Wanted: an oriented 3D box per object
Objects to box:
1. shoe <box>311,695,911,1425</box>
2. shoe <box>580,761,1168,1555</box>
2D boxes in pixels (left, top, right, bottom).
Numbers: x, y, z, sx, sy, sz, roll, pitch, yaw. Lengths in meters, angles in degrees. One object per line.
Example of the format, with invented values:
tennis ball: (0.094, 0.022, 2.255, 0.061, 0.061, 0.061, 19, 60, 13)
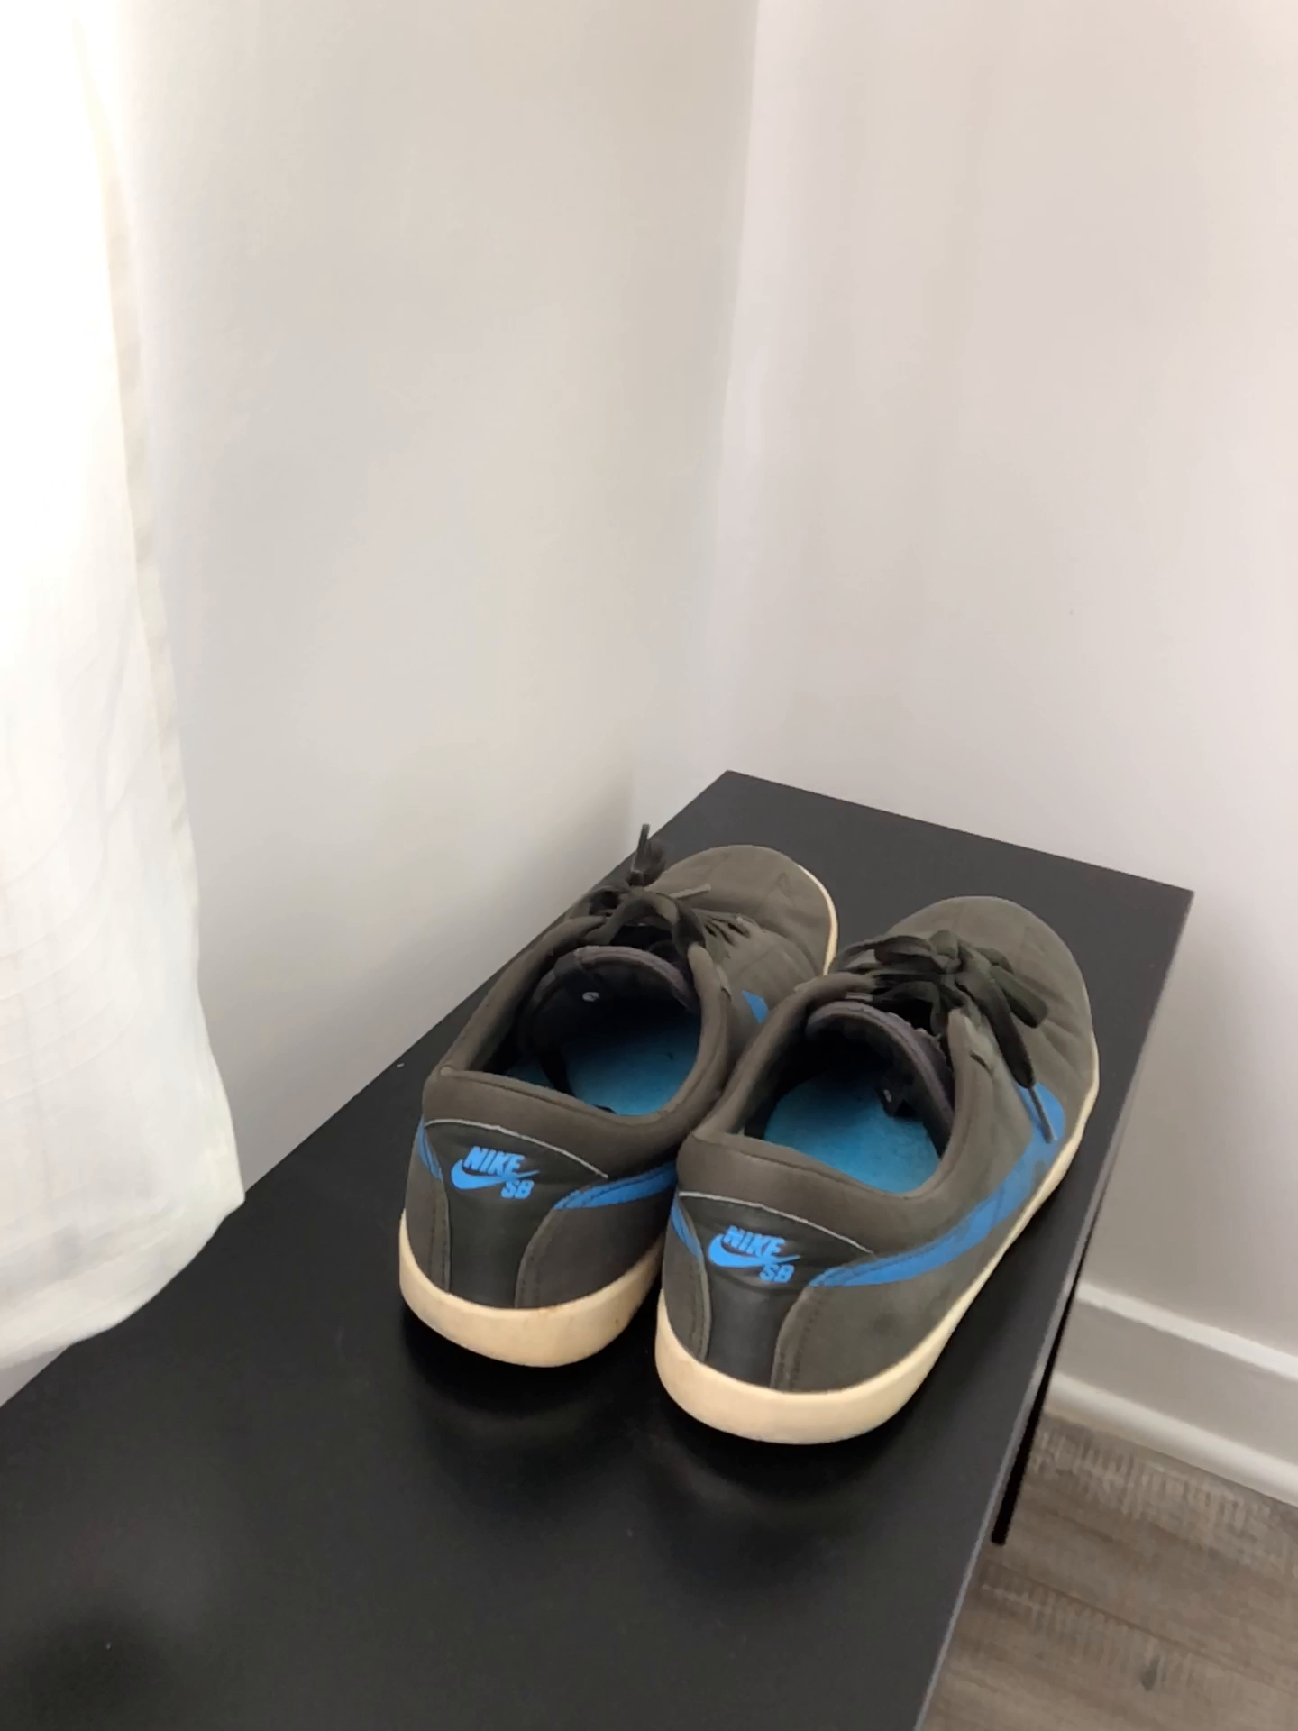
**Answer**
shoe: (0.004, 0.043, 0.514, 0.100, 0.110, 0.281, 15, 29, 18)
shoe: (0.092, 0.072, 0.493, 0.100, 0.110, 0.281, 17, 30, 22)
